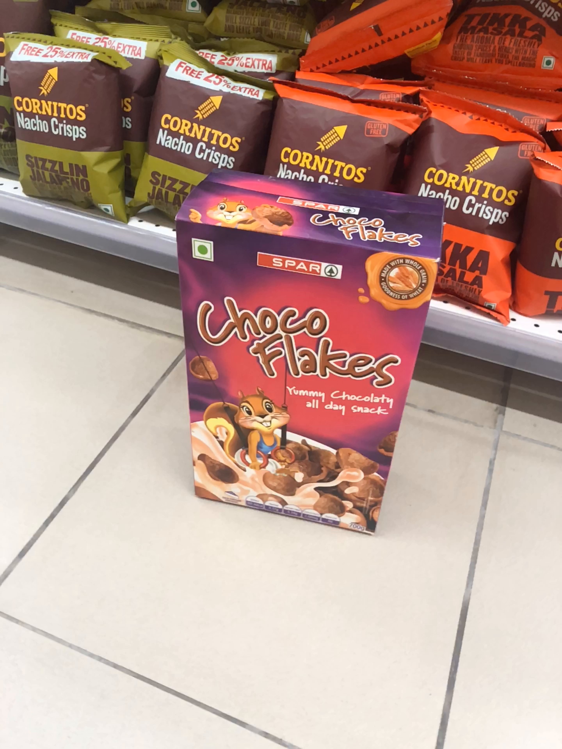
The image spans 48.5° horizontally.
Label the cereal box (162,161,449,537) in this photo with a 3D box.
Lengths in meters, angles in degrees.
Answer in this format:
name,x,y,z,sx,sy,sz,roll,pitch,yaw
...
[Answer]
name,x,y,z,sx,sy,sz,roll,pitch,yaw
cereal box,0.015,-0.003,0.578,0.200,0.339,0.090,10,43,8
